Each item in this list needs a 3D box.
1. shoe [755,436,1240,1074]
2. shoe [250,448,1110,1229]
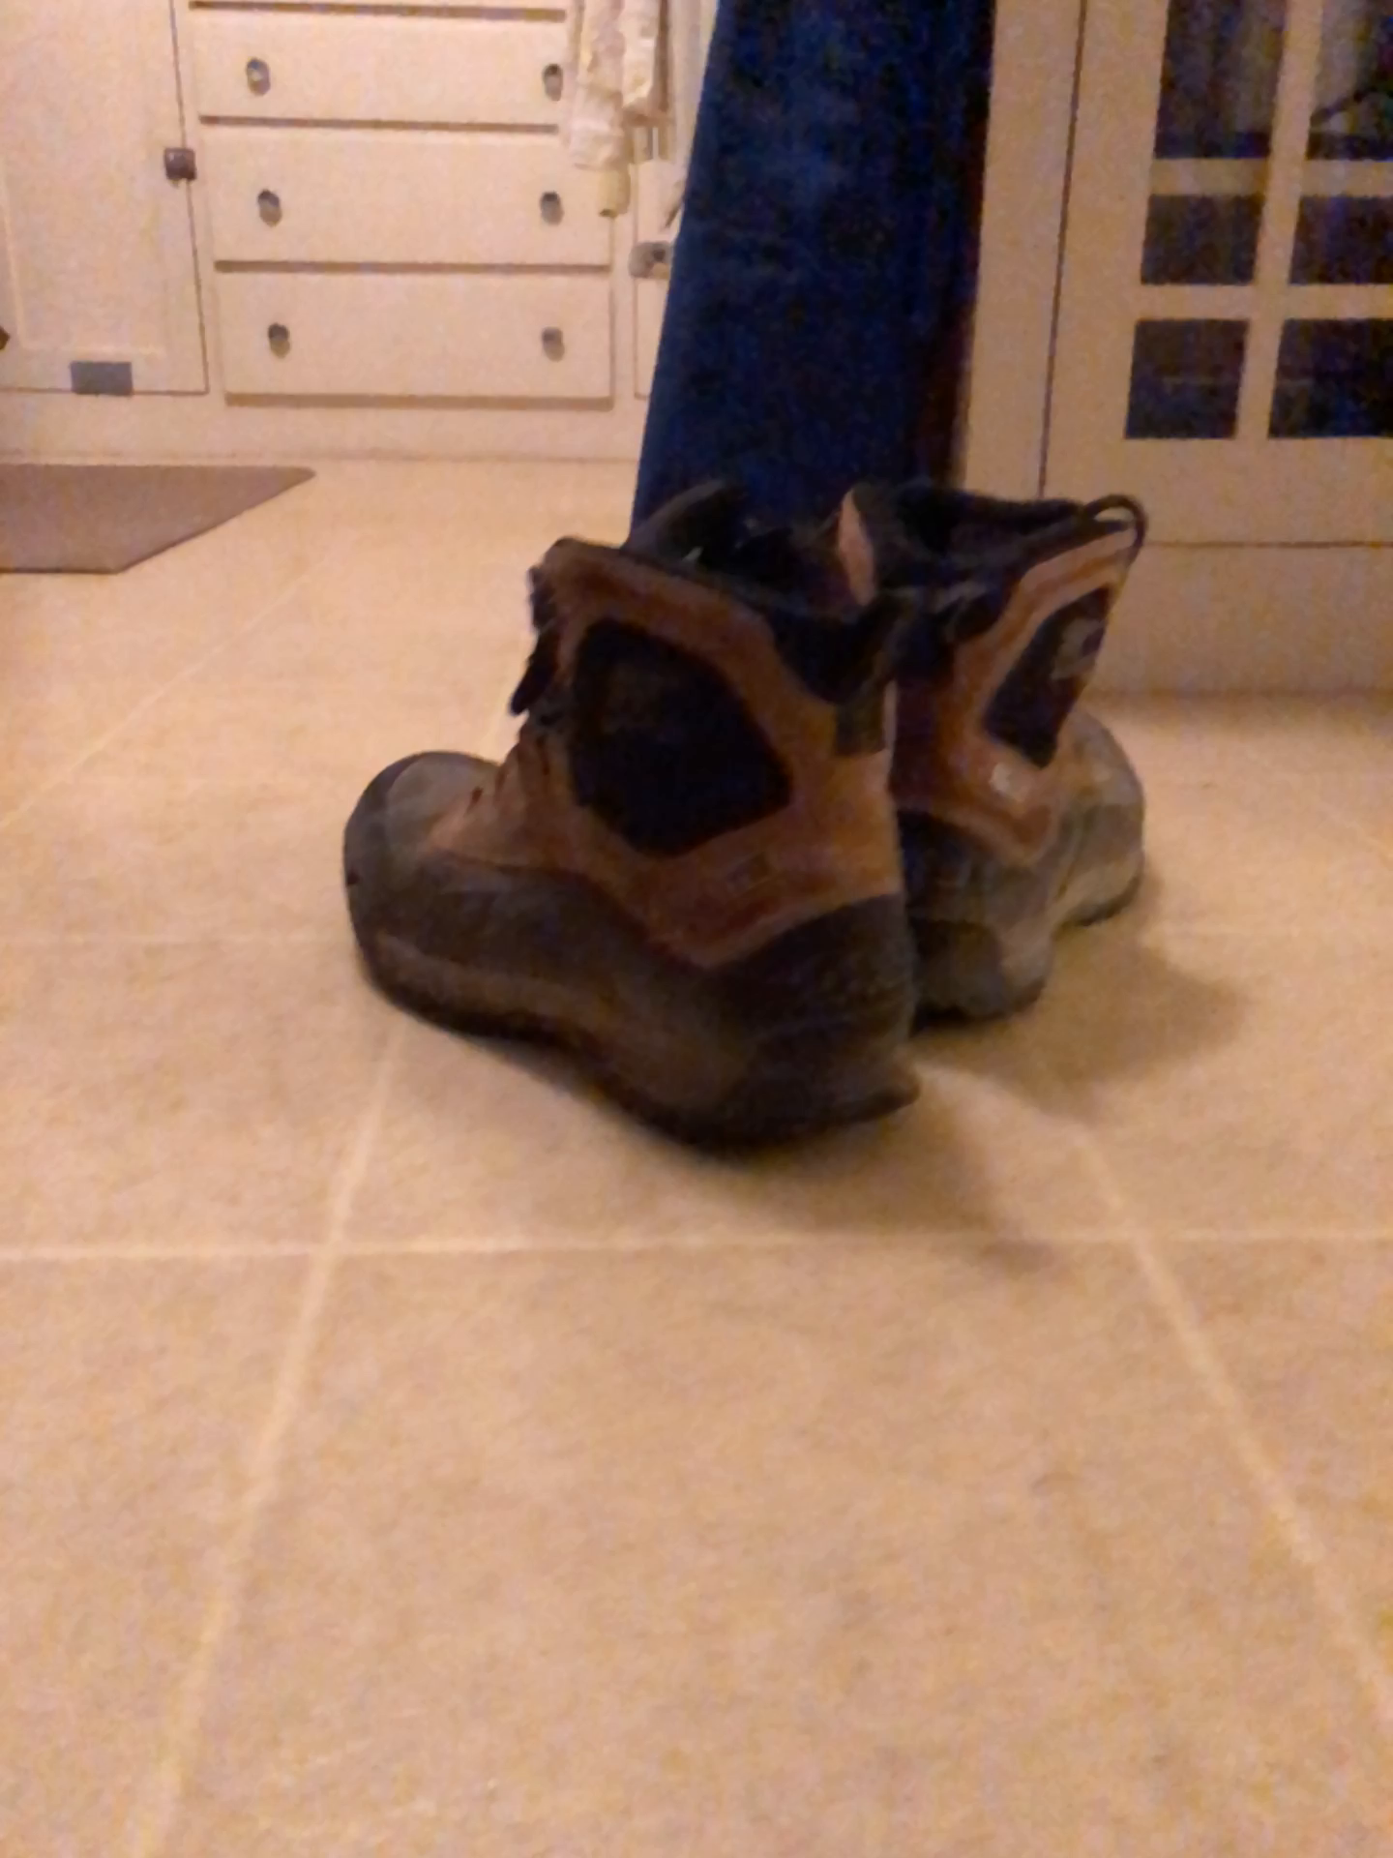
[{"bbox_3d":[0.136,-0.095,0.634,0.113,0.185,0.294,10,24,23],"label":"shoe"},{"bbox_3d":[-0.026,-0.060,0.541,0.122,0.185,0.300,-17,28,-37],"label":"shoe"}]
